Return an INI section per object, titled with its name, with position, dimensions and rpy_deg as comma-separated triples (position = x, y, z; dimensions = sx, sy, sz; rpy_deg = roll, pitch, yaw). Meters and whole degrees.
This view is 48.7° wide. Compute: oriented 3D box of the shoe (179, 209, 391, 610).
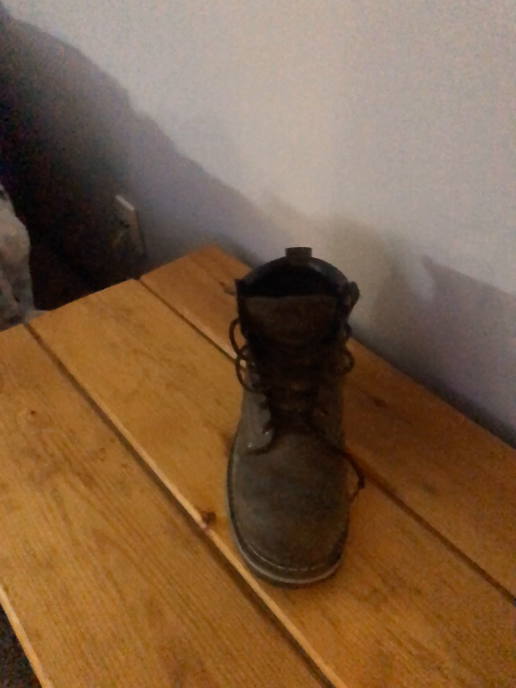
[shoe]
position = 0.029, 0.039, 0.534
dimensions = 0.130, 0.189, 0.321
rpy_deg = 3, 41, 4
